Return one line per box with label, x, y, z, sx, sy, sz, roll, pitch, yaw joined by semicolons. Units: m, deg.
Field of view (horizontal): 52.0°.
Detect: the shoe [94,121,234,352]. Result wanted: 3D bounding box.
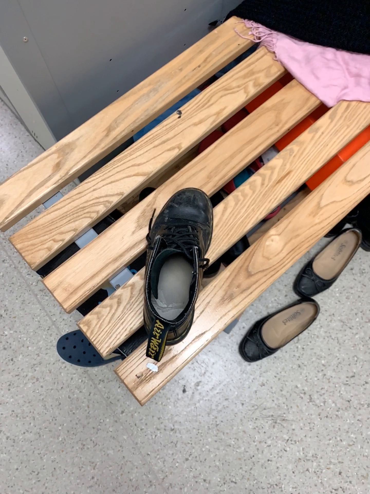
shoe;-0.019;0.002;0.537;0.106;0.200;0.261;12;73;3
